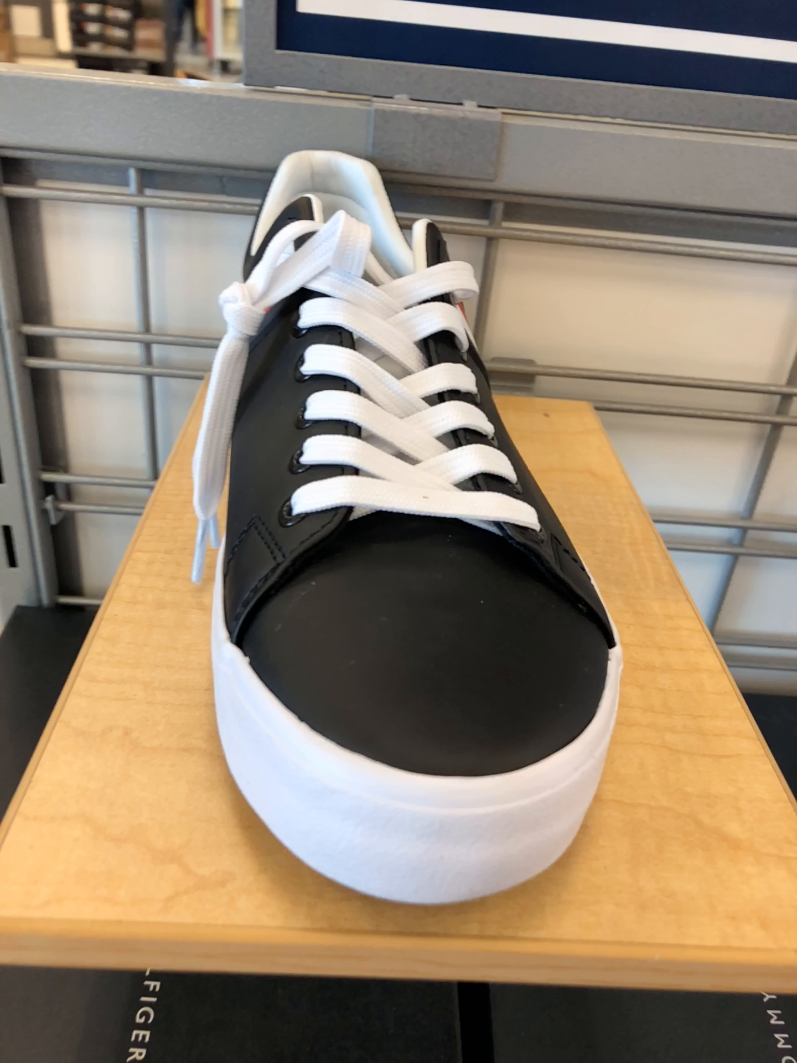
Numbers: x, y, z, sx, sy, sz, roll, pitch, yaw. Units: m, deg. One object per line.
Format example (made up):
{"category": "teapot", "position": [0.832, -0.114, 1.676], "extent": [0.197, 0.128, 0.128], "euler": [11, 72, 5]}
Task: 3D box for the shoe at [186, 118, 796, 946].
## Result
{"category": "shoe", "position": [-0.002, -0.046, 0.257], "extent": [0.100, 0.089, 0.292], "euler": [1, 32, -11]}
